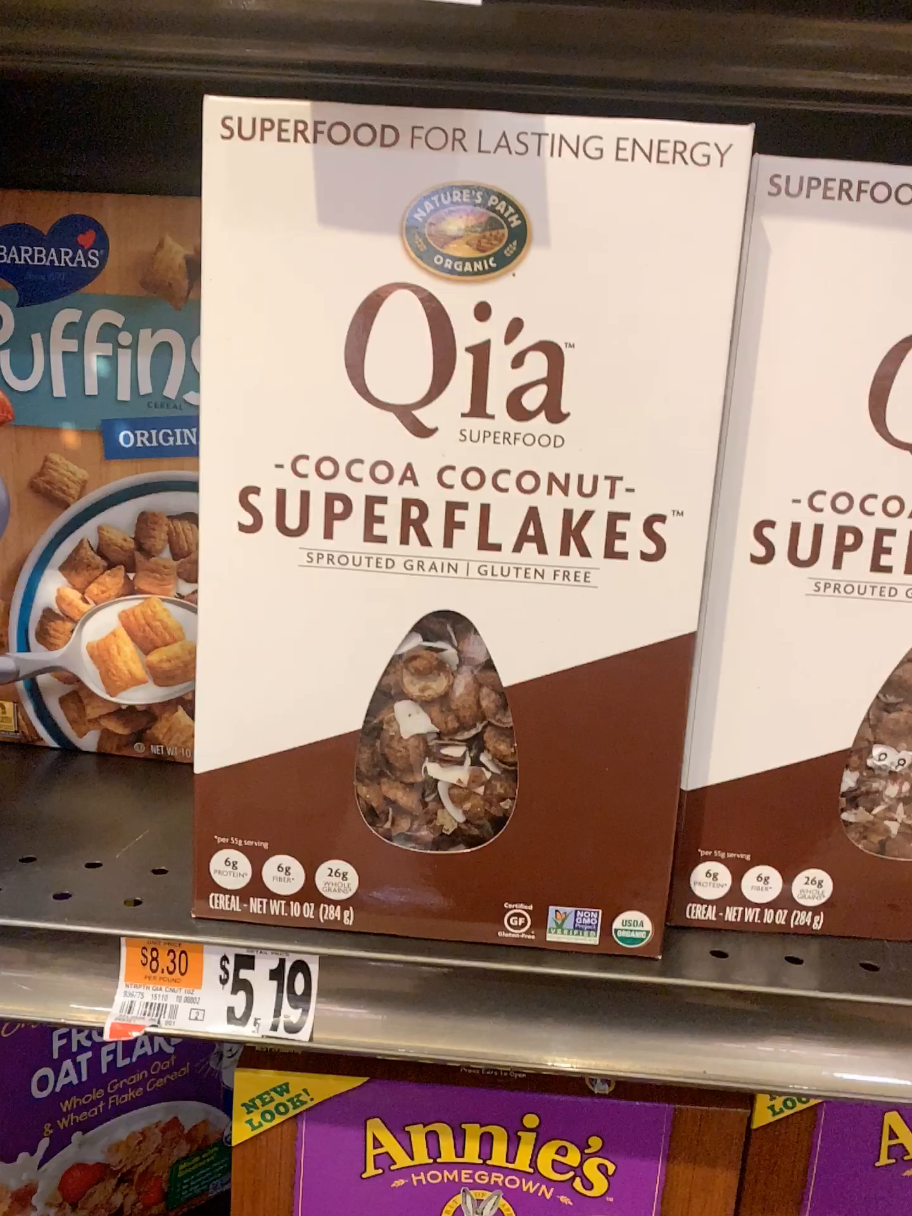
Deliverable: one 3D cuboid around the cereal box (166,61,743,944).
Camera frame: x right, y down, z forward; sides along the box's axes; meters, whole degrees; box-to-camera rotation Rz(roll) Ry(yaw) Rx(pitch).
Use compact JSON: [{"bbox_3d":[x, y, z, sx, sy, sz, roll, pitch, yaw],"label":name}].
[{"bbox_3d":[-0.007,-0.028,0.318,0.160,0.259,0.060,4,10,1],"label":"cereal box"}]
